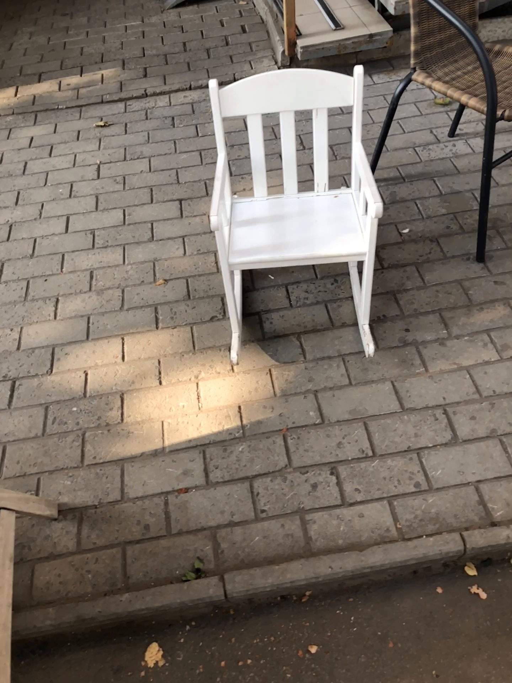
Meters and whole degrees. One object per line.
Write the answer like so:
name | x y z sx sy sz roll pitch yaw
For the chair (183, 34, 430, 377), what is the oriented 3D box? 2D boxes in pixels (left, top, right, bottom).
chair | 0.094 -0.366 1.422 0.440 0.458 0.753 -5 48 2
